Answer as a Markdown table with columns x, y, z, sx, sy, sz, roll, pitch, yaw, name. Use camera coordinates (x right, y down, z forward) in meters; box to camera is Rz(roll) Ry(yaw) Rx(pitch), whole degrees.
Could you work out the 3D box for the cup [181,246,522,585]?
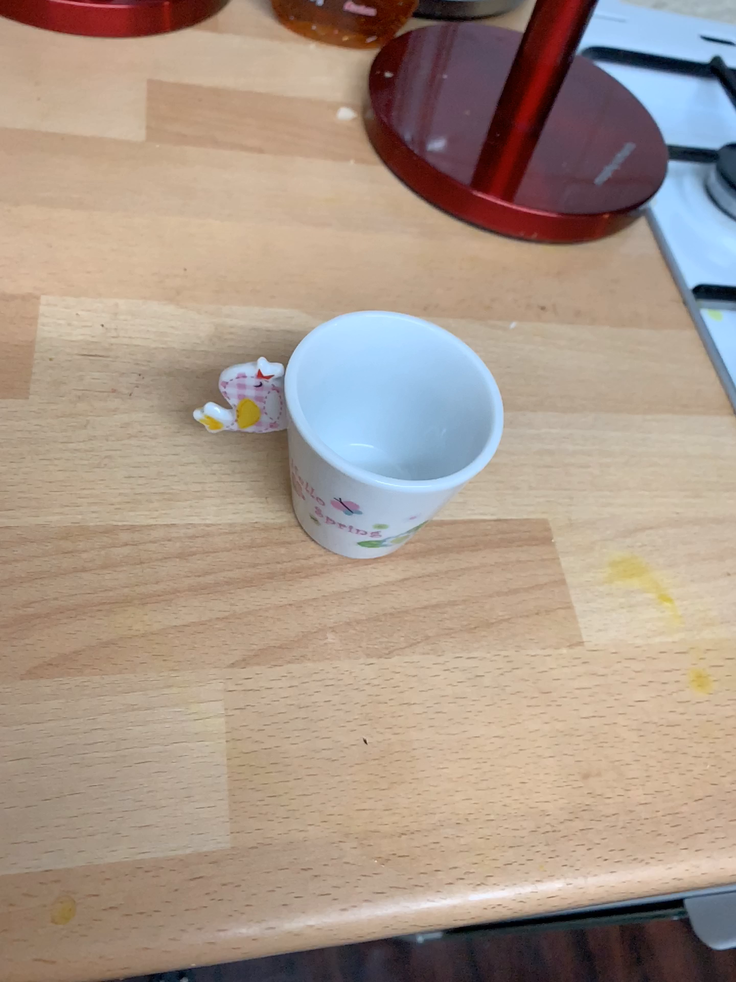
| x | y | z | sx | sy | sz | roll | pitch | yaw | name |
| --- | --- | --- | --- | --- | --- | --- | --- | --- | --- |
| -0.005 | -0.020 | 0.220 | 0.080 | 0.050 | 0.060 | 15 | 56 | -5 | cup |
